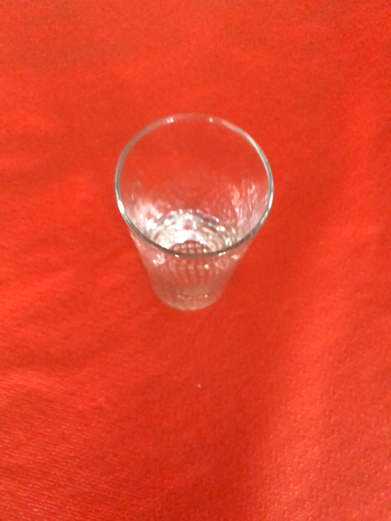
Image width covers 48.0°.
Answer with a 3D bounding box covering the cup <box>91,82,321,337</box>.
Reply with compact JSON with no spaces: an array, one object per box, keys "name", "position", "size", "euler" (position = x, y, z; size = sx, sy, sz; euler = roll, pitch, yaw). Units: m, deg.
[{"name":"cup","position":[0.001,-0.012,0.244],"size":[0.070,0.150,0.070],"euler":[1,73,-2]}]
